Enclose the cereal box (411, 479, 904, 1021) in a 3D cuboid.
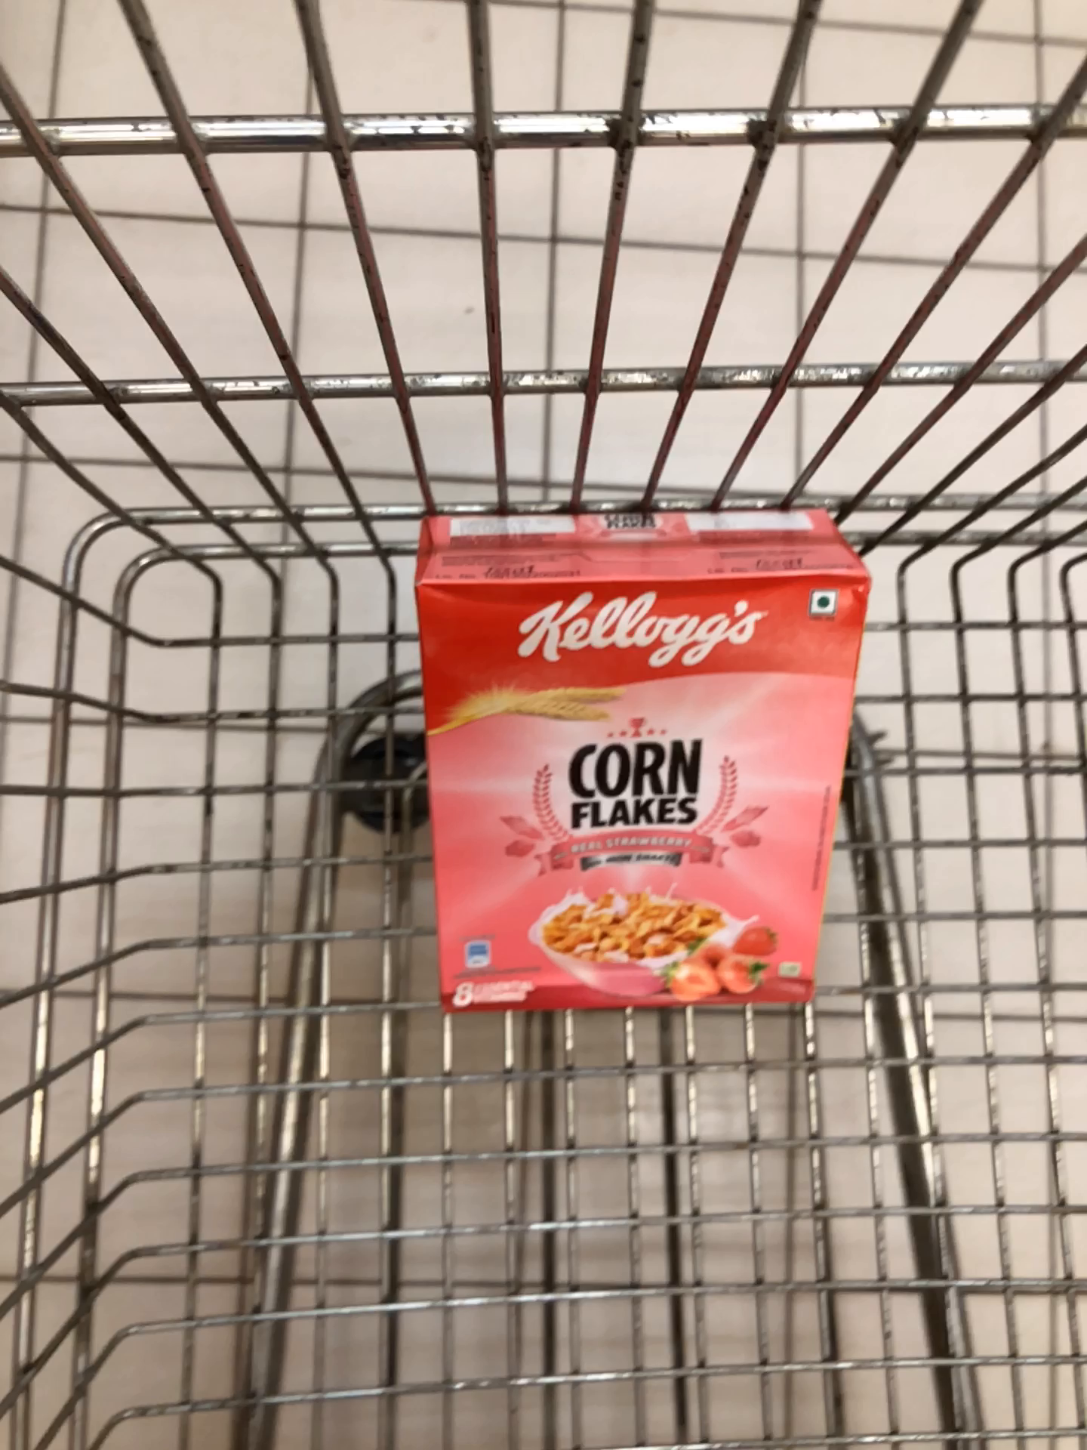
[{"bbox_3d":[0.031,0.013,0.410,0.140,0.050,0.180,-1,120,-3],"label":"cereal box"}]
